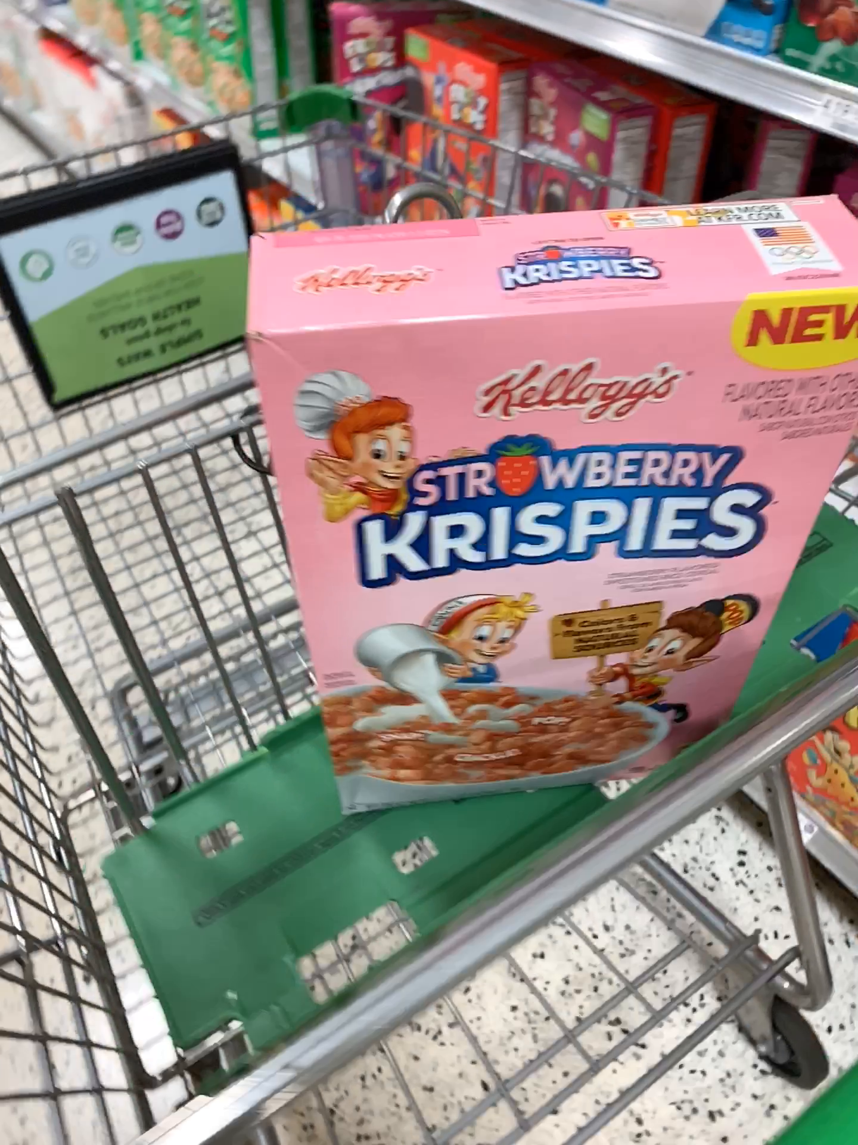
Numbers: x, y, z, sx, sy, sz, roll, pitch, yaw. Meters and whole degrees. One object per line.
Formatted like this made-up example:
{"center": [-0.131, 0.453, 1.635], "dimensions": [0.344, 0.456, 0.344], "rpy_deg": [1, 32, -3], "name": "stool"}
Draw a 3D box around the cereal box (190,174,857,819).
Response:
{"center": [0.036, -0.002, 0.378], "dimensions": [0.210, 0.297, 0.061], "rpy_deg": [-5, 49, -5], "name": "cereal box"}
